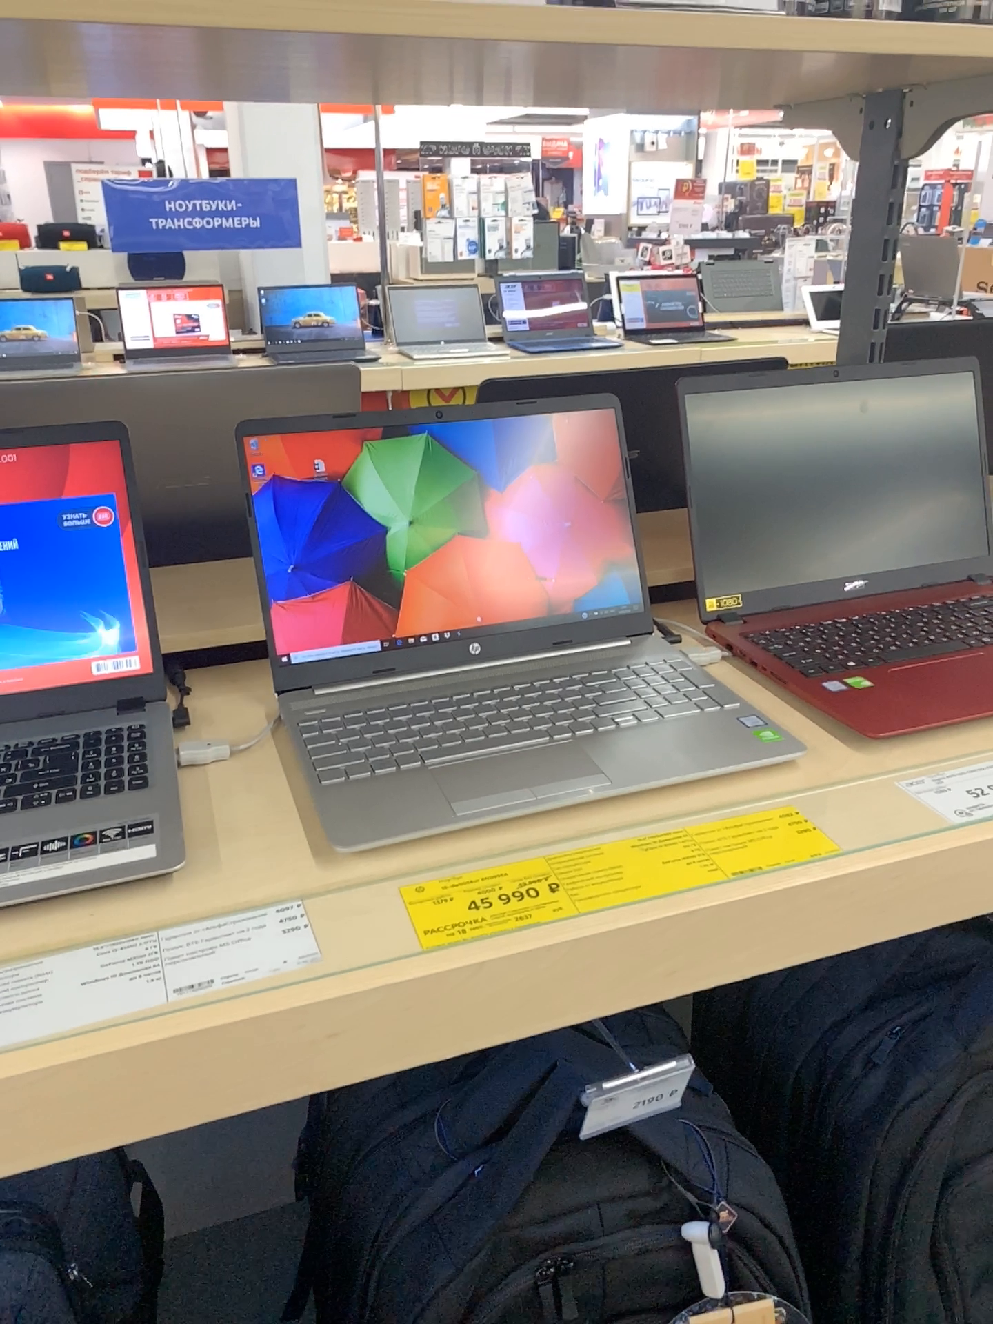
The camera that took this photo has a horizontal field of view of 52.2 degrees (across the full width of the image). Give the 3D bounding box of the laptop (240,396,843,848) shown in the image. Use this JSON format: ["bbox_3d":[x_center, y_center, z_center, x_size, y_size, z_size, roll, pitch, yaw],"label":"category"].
[{"bbox_3d":[0.007,-0.069,0.818,0.360,0.209,0.348,-9,25,-18],"label":"laptop"}]
